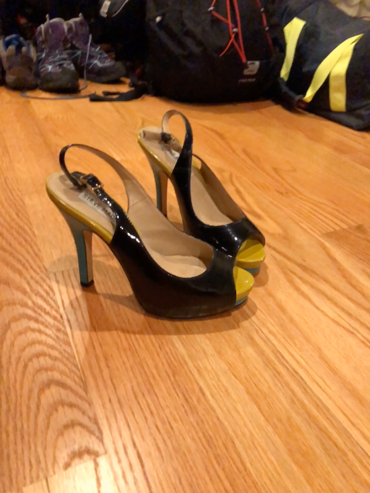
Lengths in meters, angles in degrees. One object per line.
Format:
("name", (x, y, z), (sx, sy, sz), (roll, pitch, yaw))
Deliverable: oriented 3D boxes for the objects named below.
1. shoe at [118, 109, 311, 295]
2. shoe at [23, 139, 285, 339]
("shoe", (0.018, -0.062, 0.459), (0.085, 0.121, 0.205), (-22, 42, -34))
("shoe", (-0.023, -0.010, 0.376), (0.201, 0.131, 0.086), (9, 34, 7))
